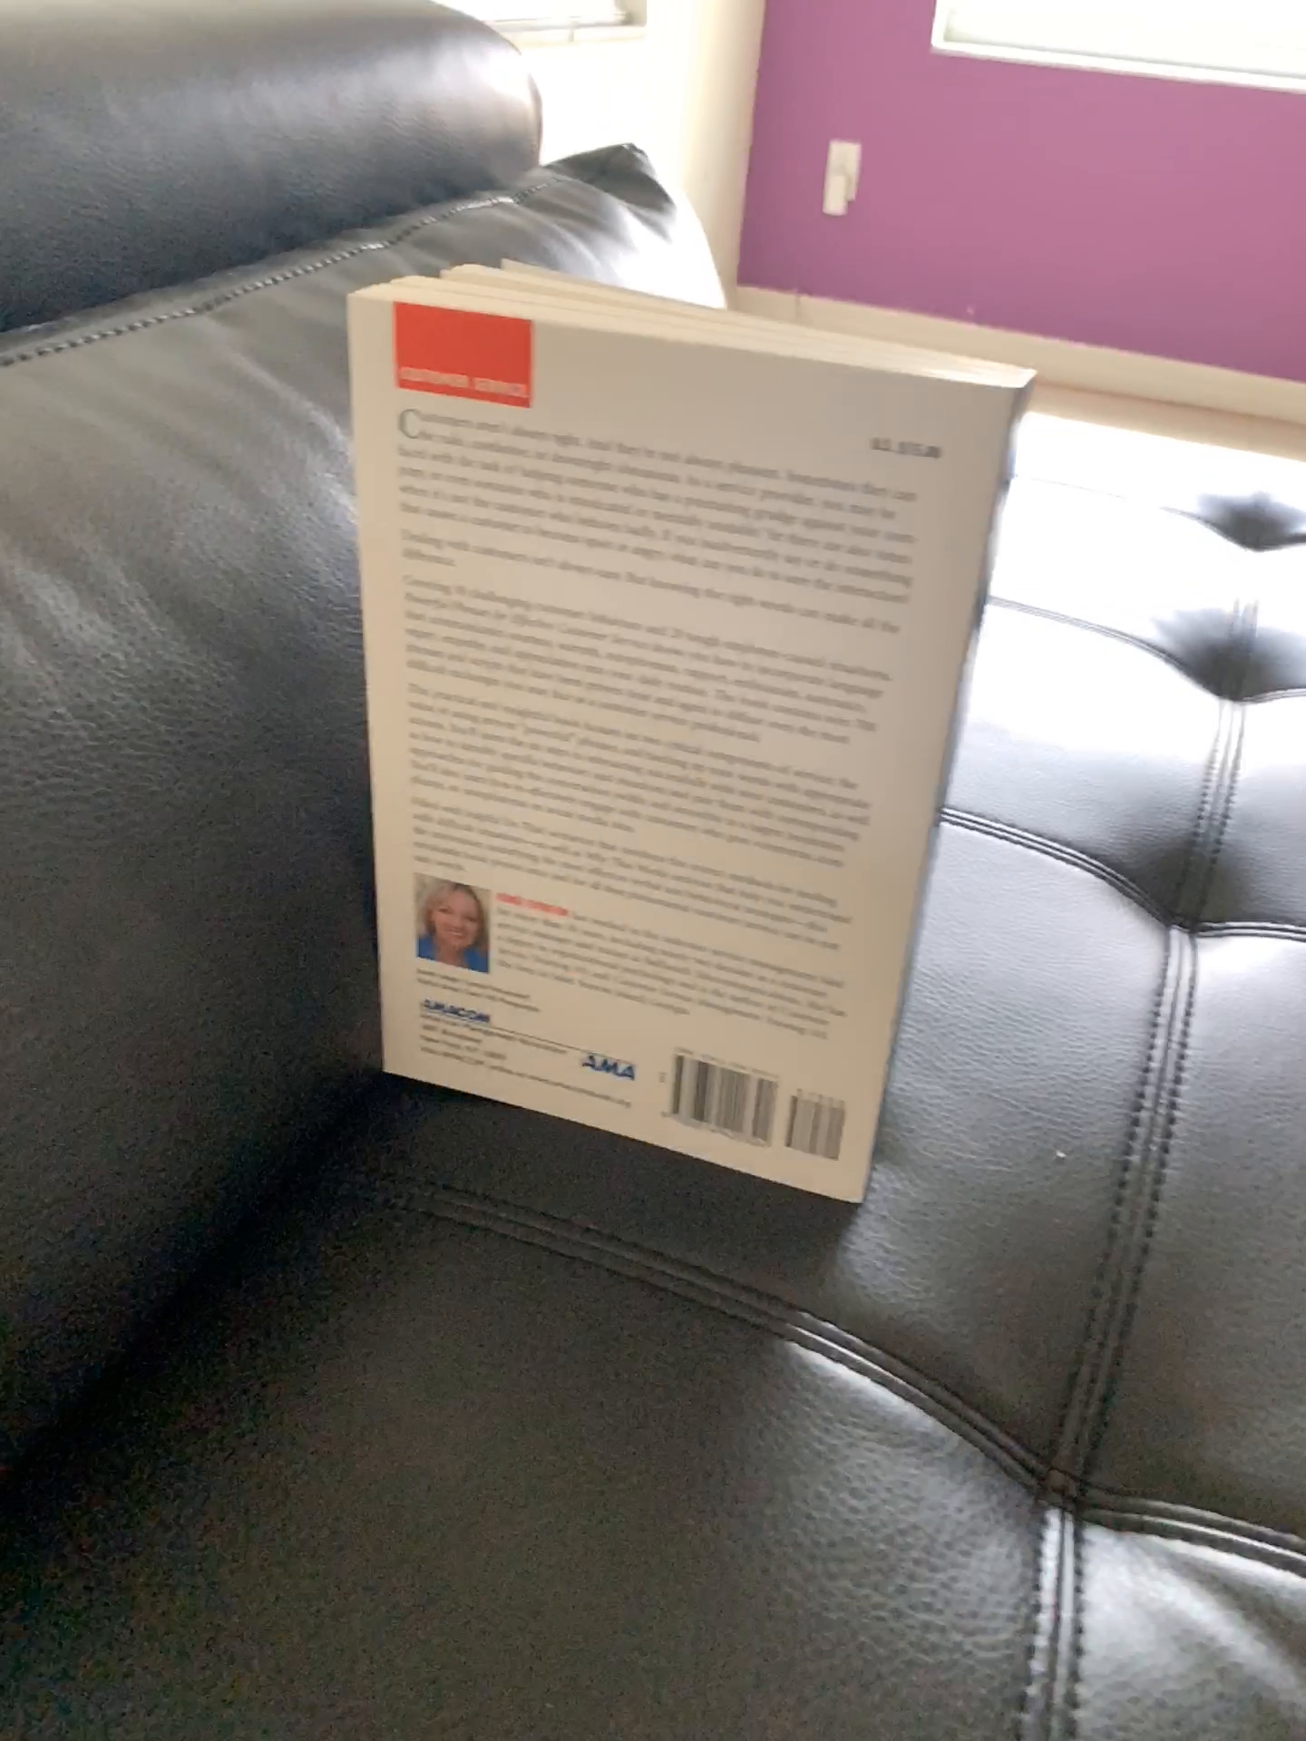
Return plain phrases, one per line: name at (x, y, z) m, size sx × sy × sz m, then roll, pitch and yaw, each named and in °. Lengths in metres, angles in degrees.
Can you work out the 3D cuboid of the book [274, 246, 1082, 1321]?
book at (-0.002, -0.020, 0.370) m, size 0.162 × 0.246 × 0.083 m, roll 19°, pitch 36°, yaw 20°
